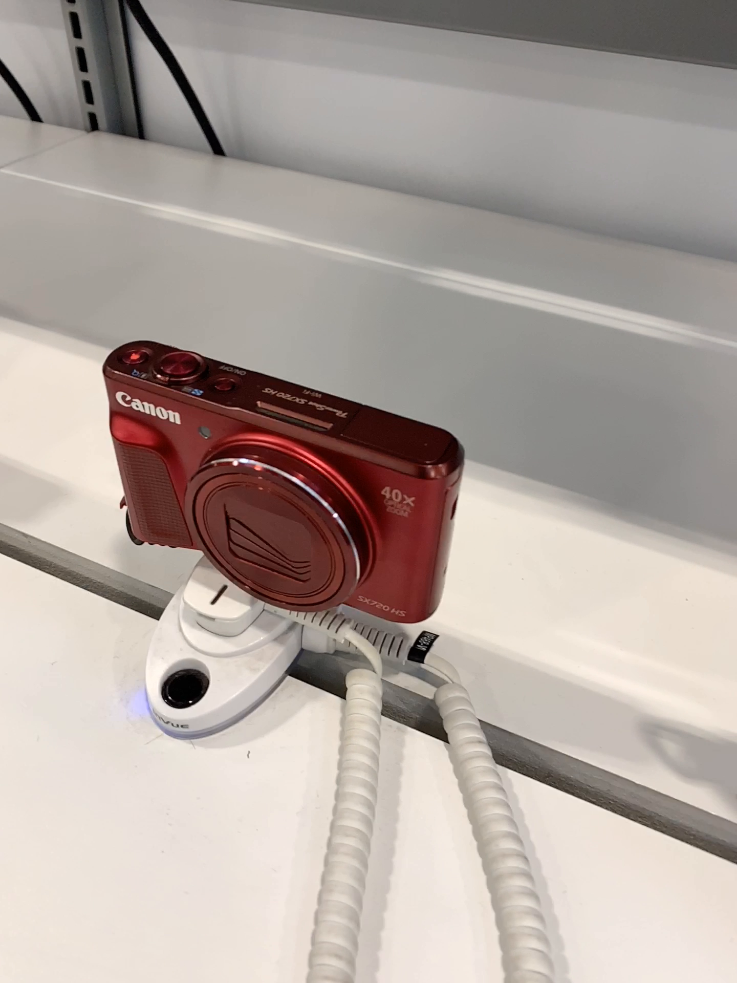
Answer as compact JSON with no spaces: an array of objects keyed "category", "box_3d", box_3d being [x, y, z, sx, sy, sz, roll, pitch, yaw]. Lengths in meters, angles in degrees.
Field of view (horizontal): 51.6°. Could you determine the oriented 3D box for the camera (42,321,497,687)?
[{"category":"camera","box_3d":[-0.030,0.002,0.233,0.120,0.070,0.040,18,43,17]}]
